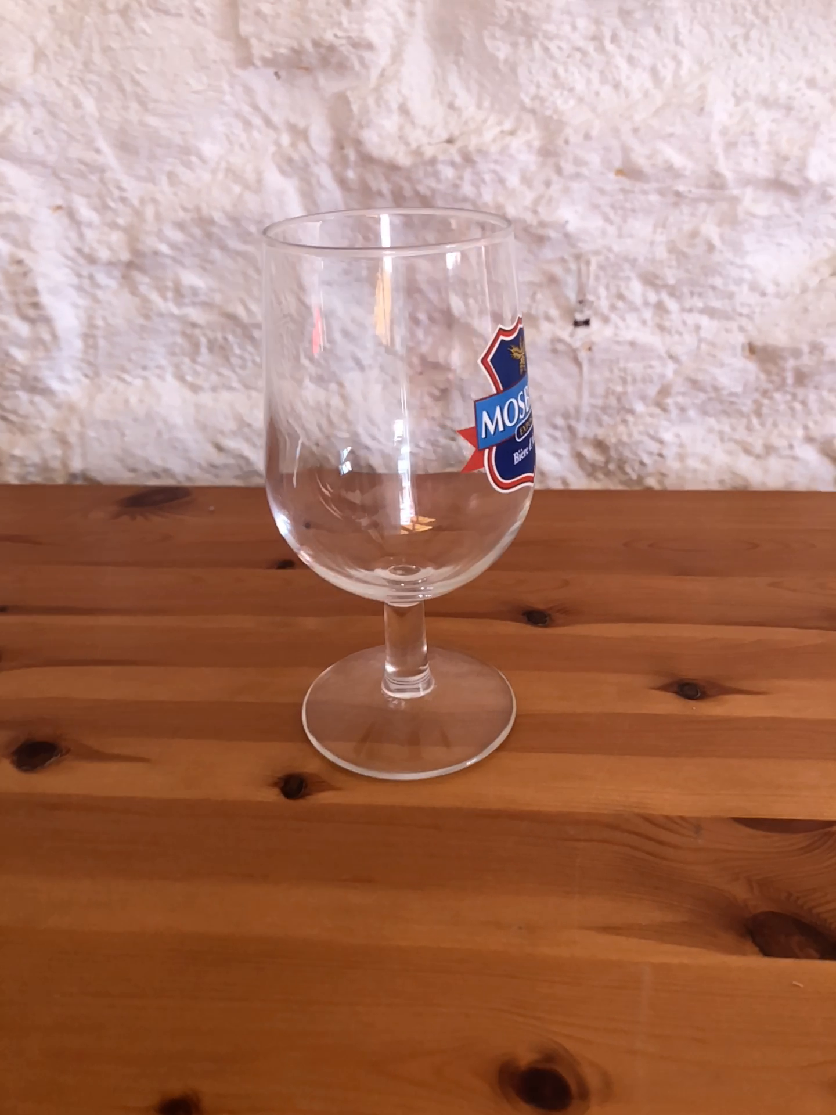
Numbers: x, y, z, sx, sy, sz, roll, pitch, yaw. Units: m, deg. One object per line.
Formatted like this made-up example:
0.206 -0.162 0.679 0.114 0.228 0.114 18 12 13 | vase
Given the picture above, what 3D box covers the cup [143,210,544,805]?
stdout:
-0.012 -0.019 0.264 0.077 0.142 0.079 -1 26 1 | cup
